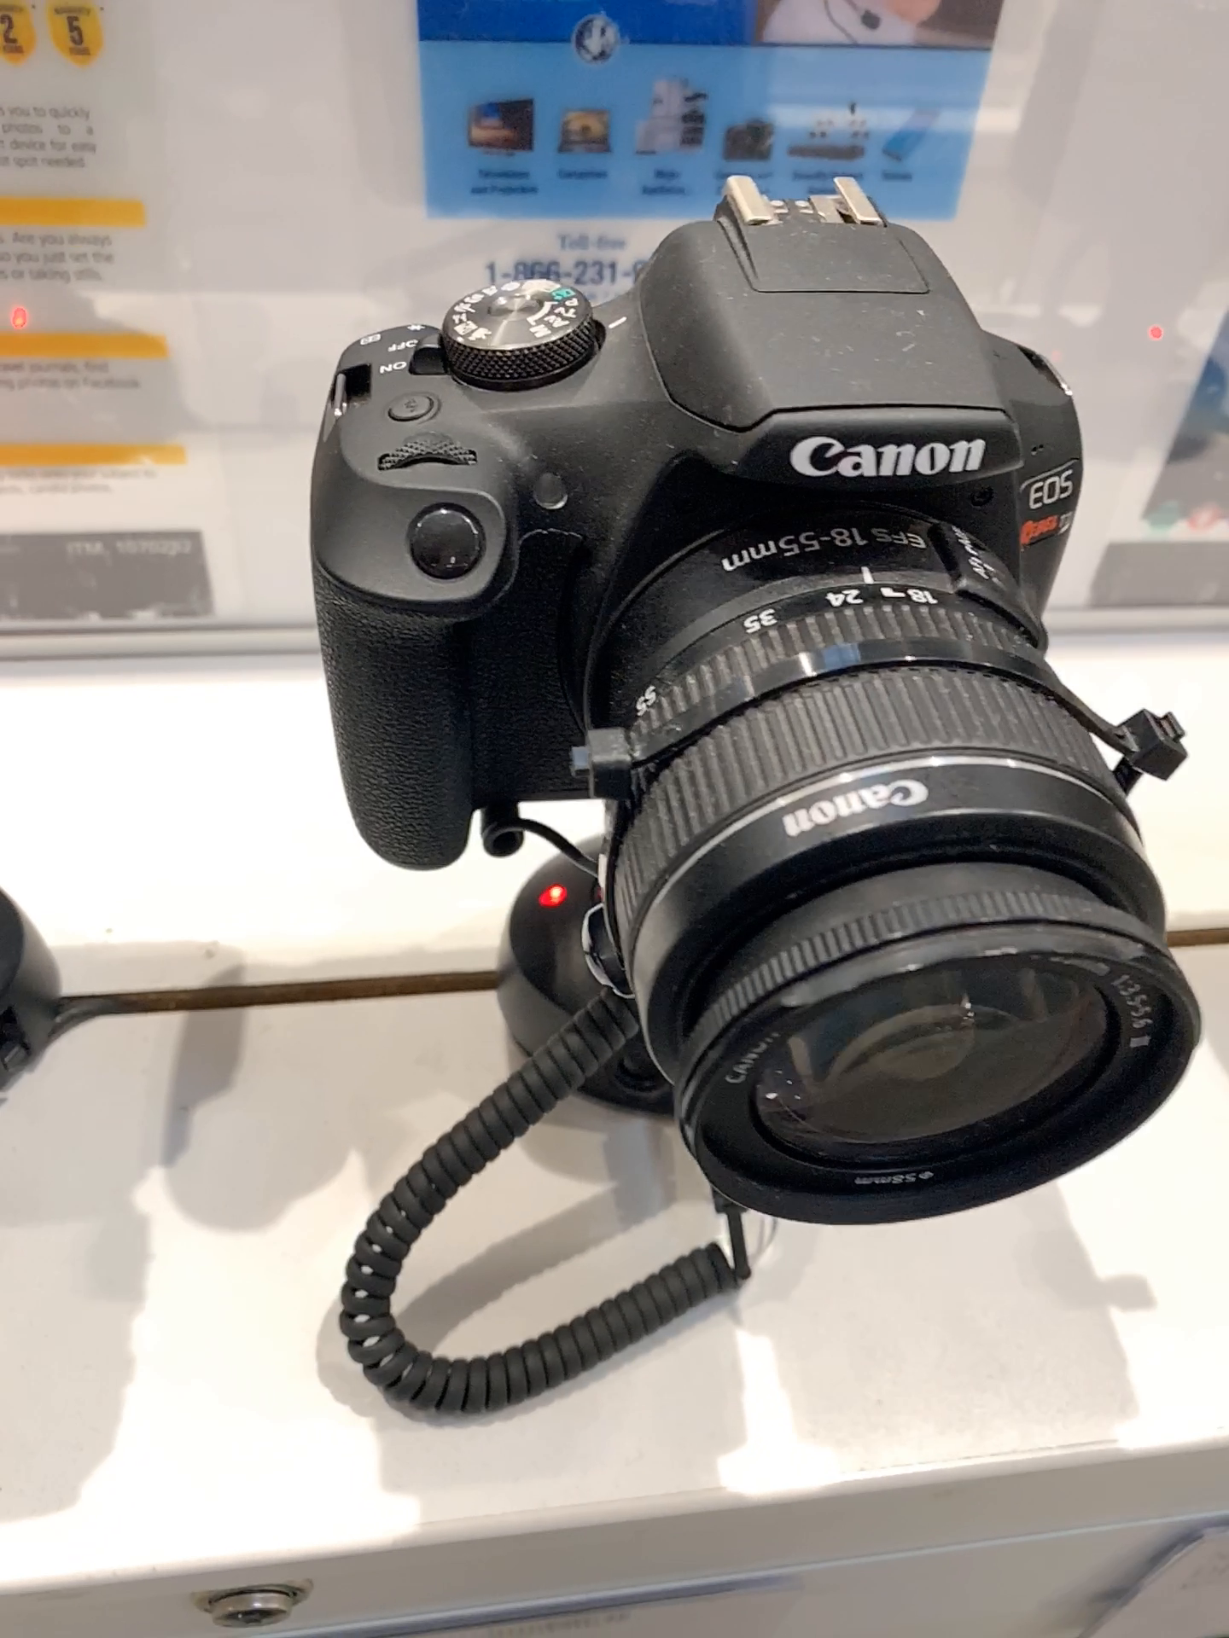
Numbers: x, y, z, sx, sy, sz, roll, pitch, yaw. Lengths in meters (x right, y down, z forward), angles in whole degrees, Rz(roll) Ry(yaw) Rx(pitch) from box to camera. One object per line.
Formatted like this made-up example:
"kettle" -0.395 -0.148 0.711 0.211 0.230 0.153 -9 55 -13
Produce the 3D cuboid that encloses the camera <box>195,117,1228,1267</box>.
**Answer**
"camera" 0.020 -0.029 0.187 0.130 0.089 0.141 -3 45 -8
